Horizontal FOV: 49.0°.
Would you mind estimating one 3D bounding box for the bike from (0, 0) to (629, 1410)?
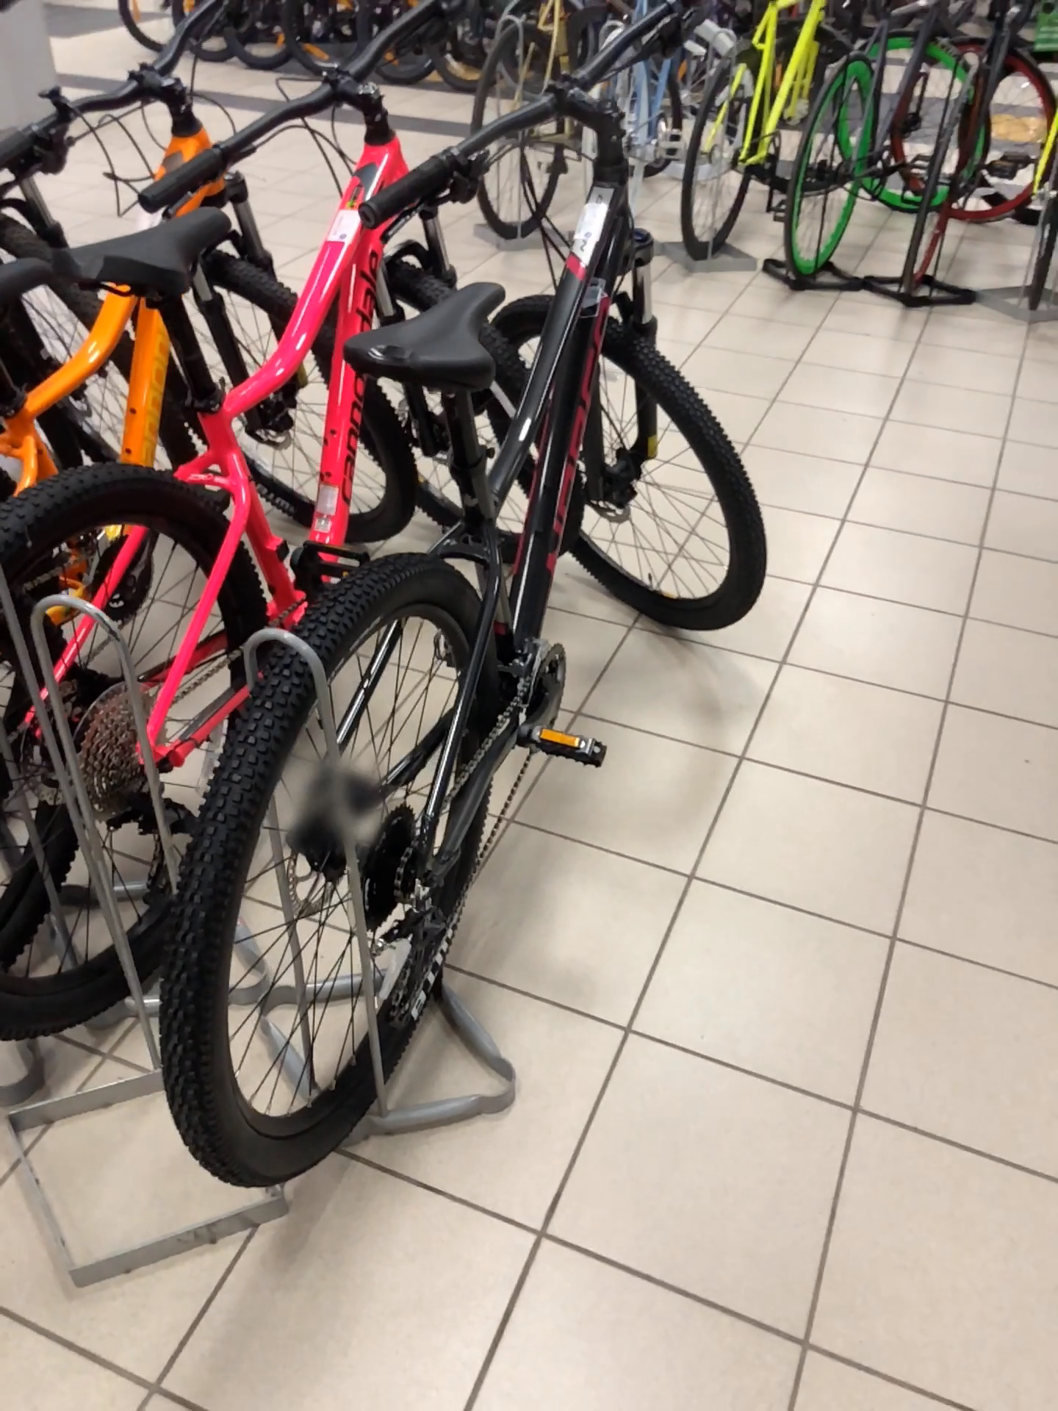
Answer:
[{"bbox_3d":[-0.276,-0.252,1.574,0.684,1.101,1.588,7,35,7],"label":"bike"}]

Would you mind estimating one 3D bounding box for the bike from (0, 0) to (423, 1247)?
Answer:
[{"bbox_3d":[-0.639,-0.393,1.691,0.653,1.074,1.573,7,38,8],"label":"bike"}]
